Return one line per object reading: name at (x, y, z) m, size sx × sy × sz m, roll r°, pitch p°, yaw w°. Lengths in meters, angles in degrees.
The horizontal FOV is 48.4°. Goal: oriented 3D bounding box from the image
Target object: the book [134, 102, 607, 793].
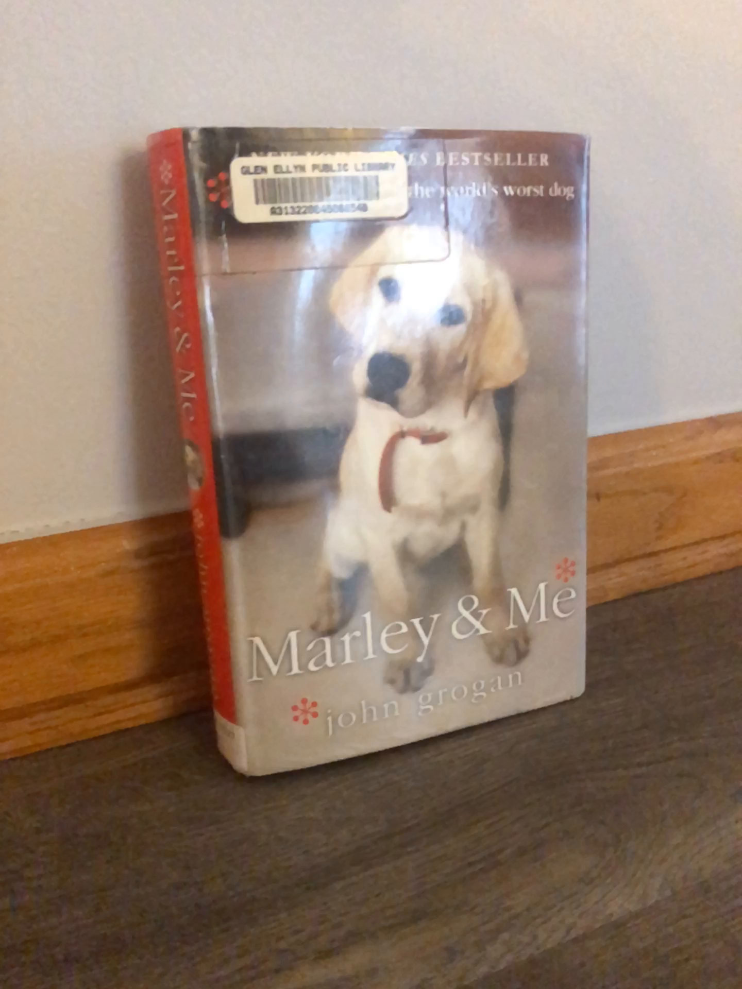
book at (0.009, -0.019, 0.299) m, size 0.151 × 0.219 × 0.040 m, roll -9°, pitch 16°, yaw -19°
